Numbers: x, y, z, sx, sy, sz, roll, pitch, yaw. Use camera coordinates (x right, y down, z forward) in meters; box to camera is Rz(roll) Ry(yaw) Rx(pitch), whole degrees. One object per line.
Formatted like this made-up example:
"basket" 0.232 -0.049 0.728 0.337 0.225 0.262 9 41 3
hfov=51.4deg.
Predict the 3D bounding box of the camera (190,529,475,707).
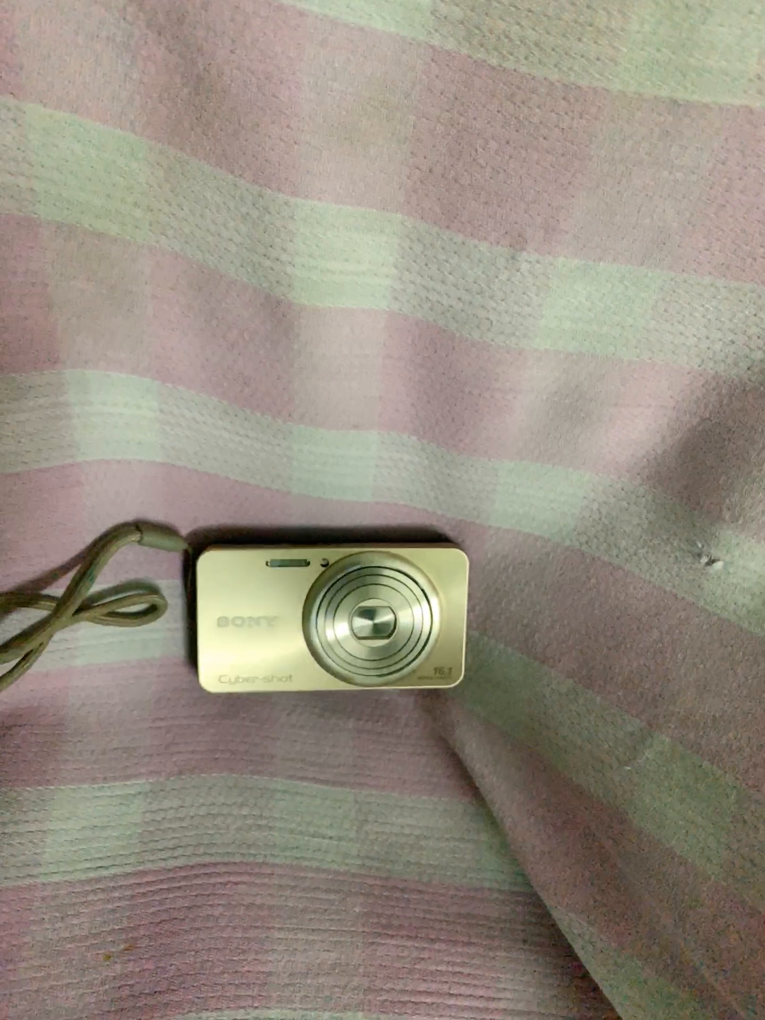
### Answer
"camera" -0.017 0.036 0.273 0.091 0.027 0.053 -1 101 -6
